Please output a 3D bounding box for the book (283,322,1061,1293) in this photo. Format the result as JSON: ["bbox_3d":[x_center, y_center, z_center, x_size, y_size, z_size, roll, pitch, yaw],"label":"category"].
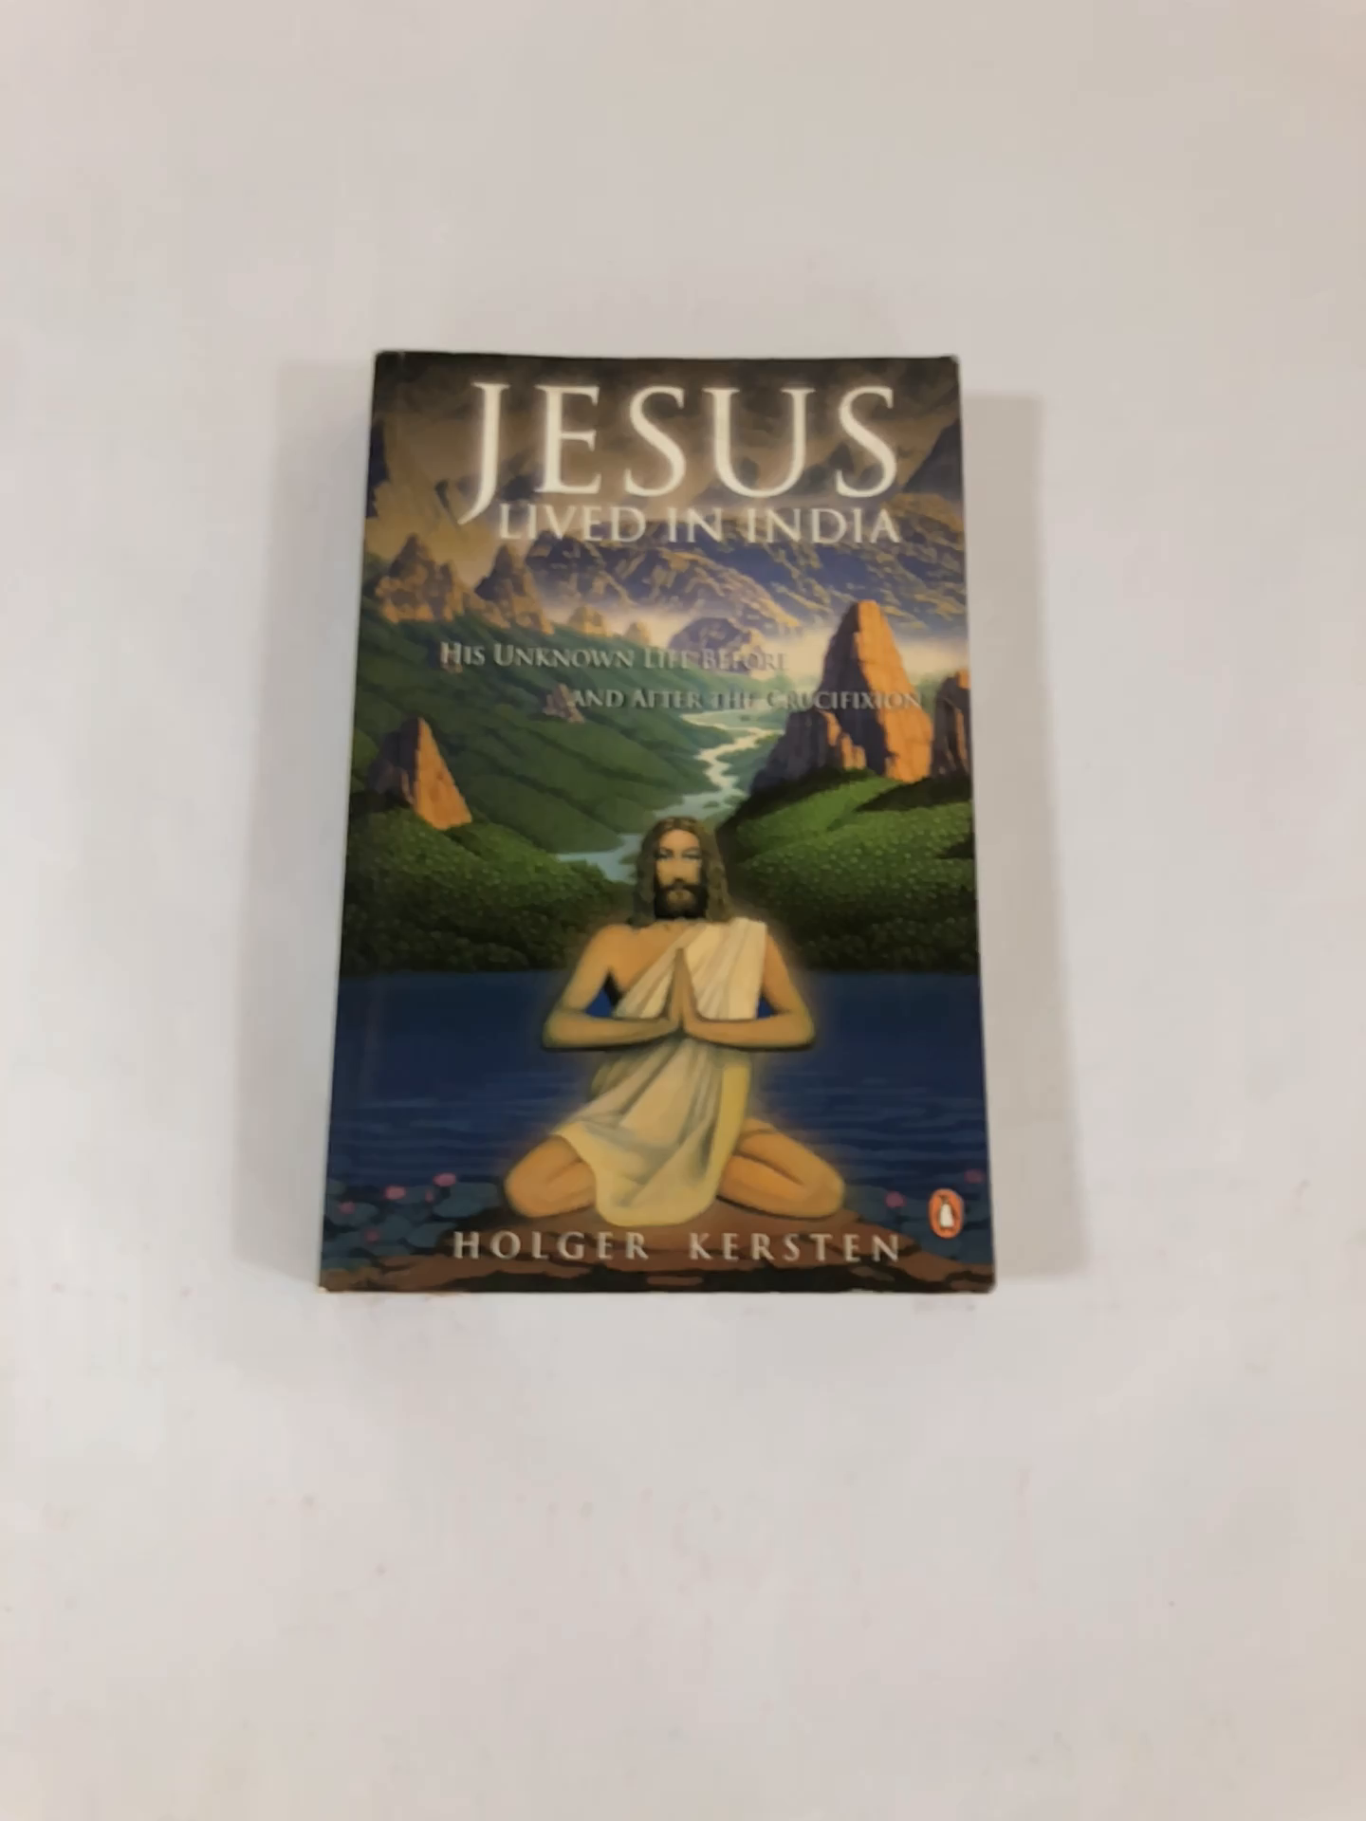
[{"bbox_3d":[-0.001,-0.026,0.335,0.150,0.030,0.210,1,76,-1],"label":"book"}]
